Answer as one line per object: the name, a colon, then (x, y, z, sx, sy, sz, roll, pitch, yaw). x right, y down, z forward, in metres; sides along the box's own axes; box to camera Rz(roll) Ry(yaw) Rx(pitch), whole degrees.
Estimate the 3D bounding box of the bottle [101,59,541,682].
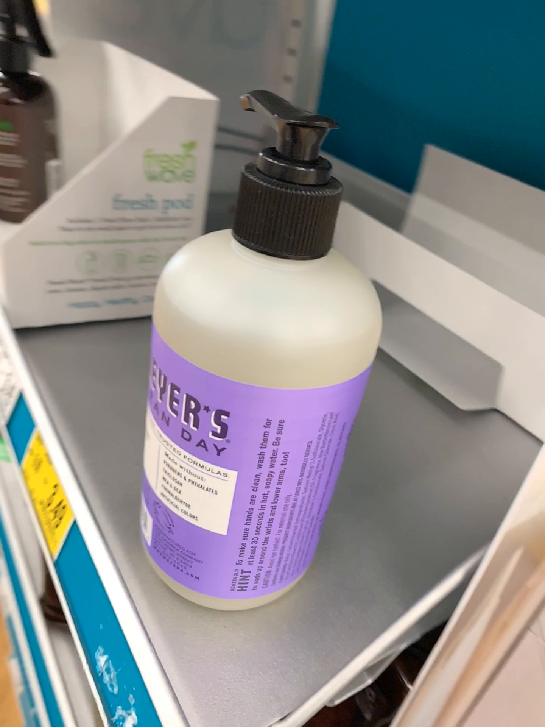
bottle: (-0.002, 0.004, 0.180, 0.070, 0.159, 0.080, -16, 41, -38)
